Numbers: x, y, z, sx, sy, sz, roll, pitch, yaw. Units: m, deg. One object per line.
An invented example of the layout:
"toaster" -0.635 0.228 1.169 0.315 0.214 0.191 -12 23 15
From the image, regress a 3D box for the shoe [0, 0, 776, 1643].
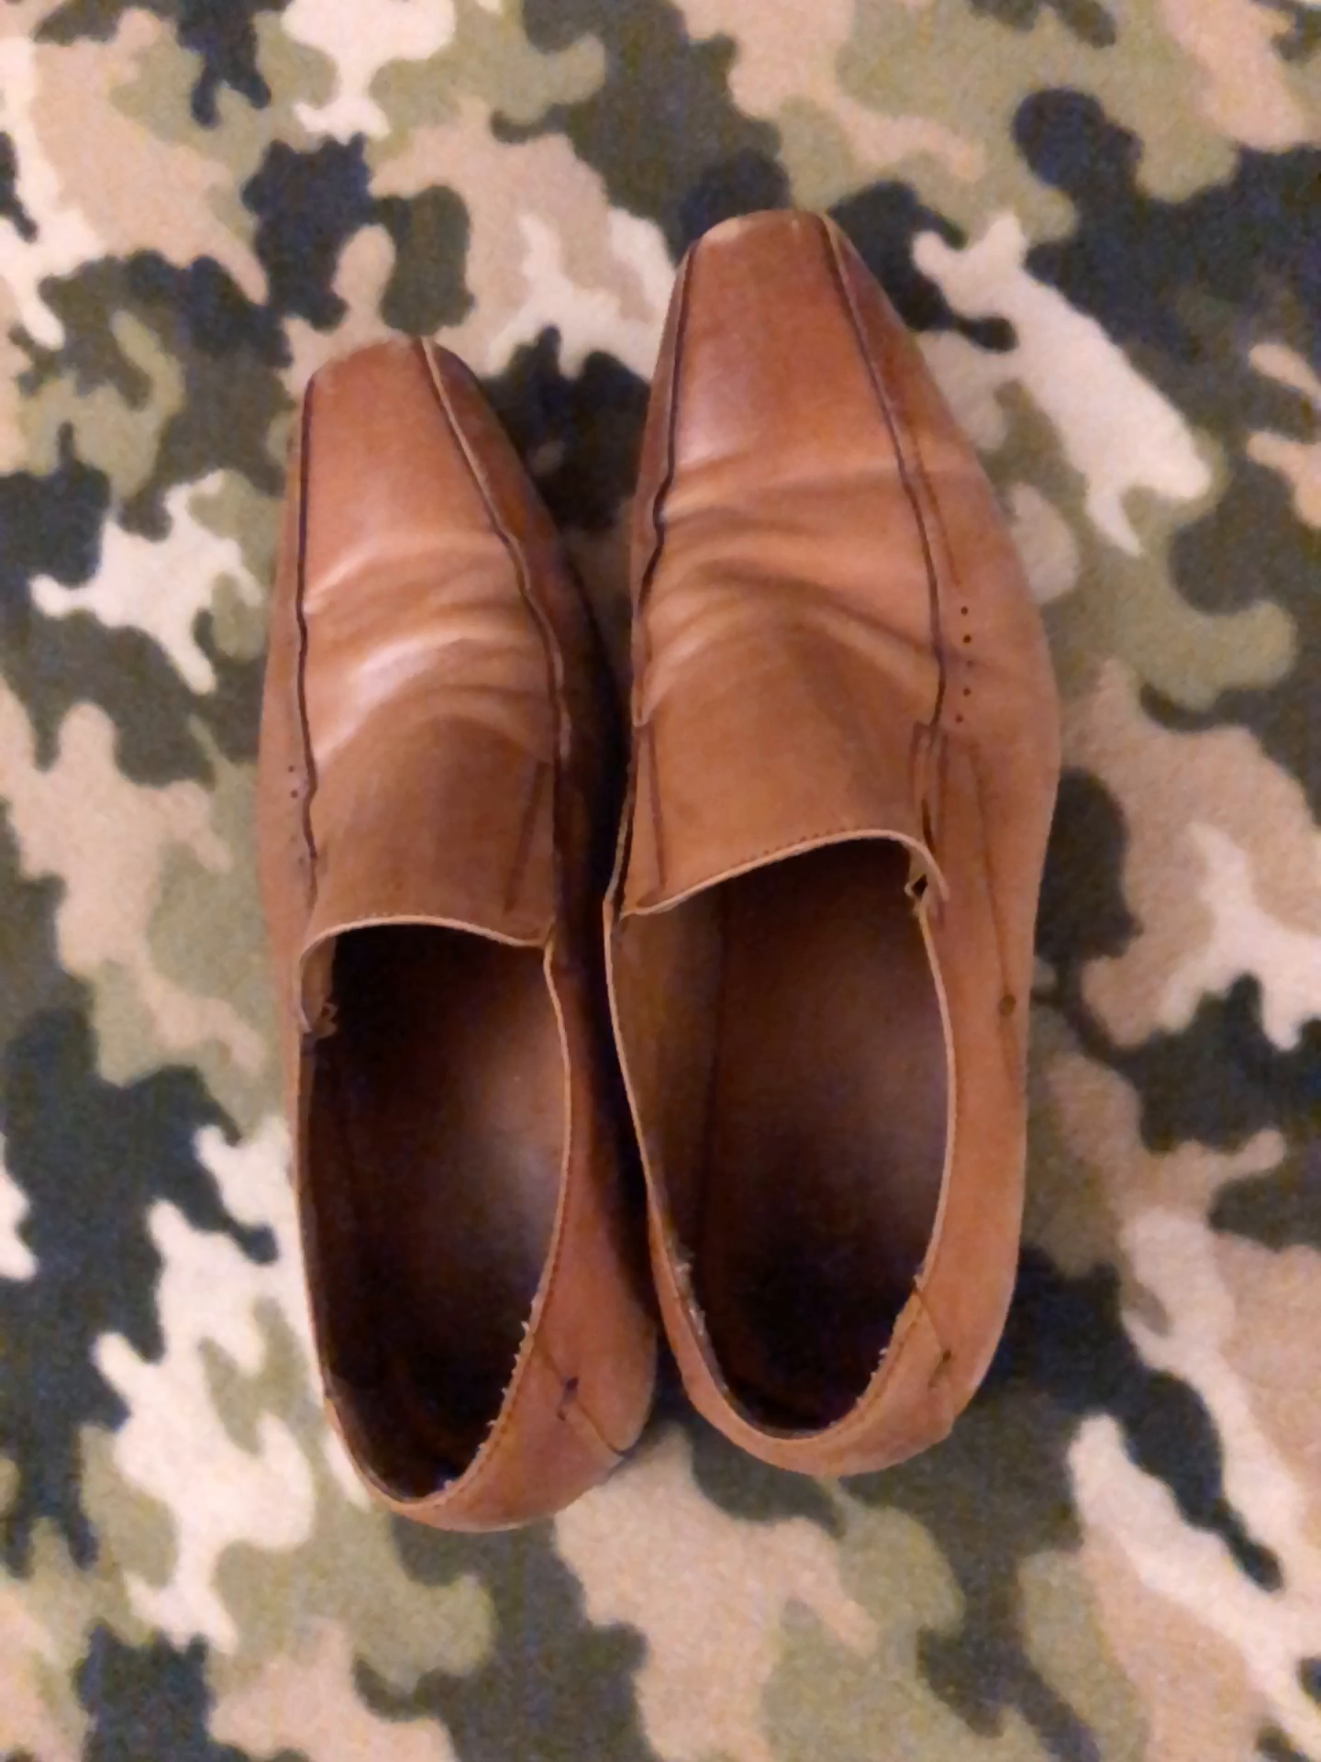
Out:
"shoe" -0.064 -0.016 0.346 0.110 0.120 0.320 -12 76 13

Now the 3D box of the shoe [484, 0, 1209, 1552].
"shoe" 0.039 -0.038 0.327 0.110 0.120 0.320 -6 78 14
